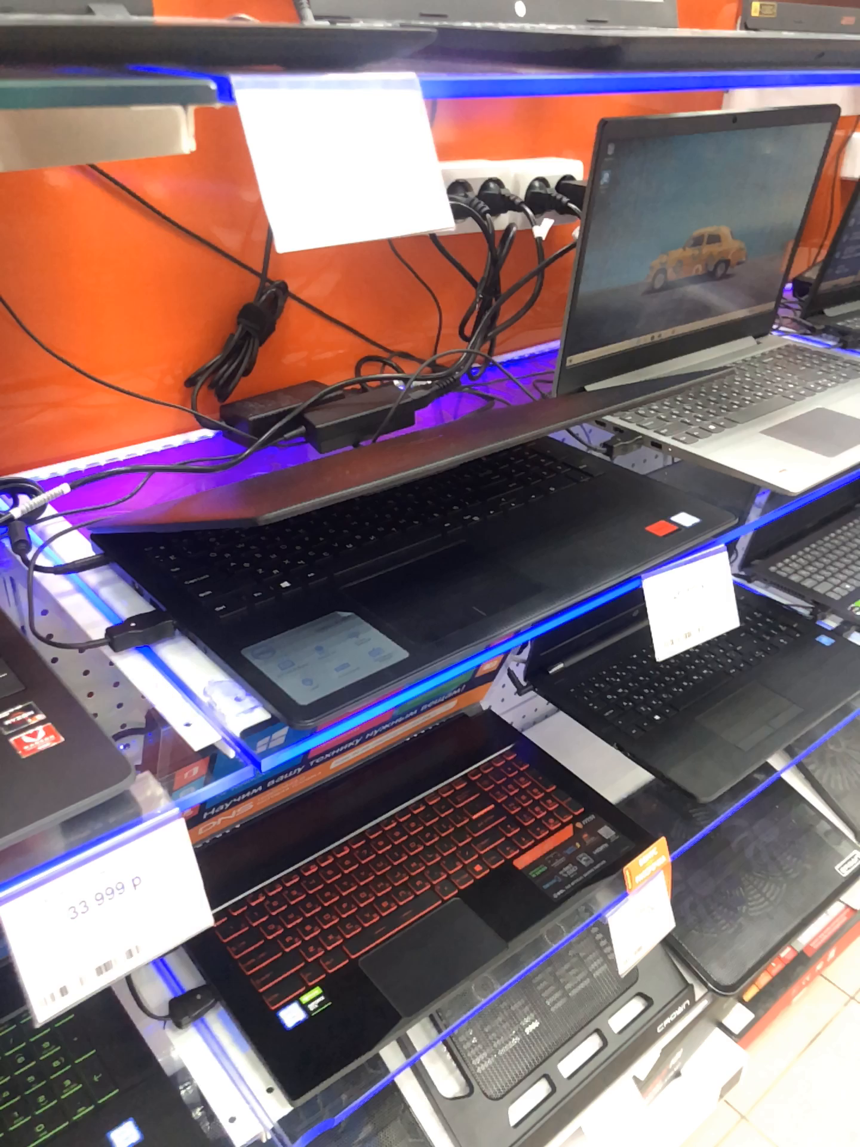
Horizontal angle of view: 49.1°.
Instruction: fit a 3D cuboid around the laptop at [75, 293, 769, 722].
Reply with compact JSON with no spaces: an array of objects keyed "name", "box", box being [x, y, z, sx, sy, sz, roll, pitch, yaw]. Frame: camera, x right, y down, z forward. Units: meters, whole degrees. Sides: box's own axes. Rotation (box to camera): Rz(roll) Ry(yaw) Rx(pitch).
[{"name":"laptop","box":[0.003,-0.079,0.612,0.372,0.100,0.238,-23,37,-34]}]
